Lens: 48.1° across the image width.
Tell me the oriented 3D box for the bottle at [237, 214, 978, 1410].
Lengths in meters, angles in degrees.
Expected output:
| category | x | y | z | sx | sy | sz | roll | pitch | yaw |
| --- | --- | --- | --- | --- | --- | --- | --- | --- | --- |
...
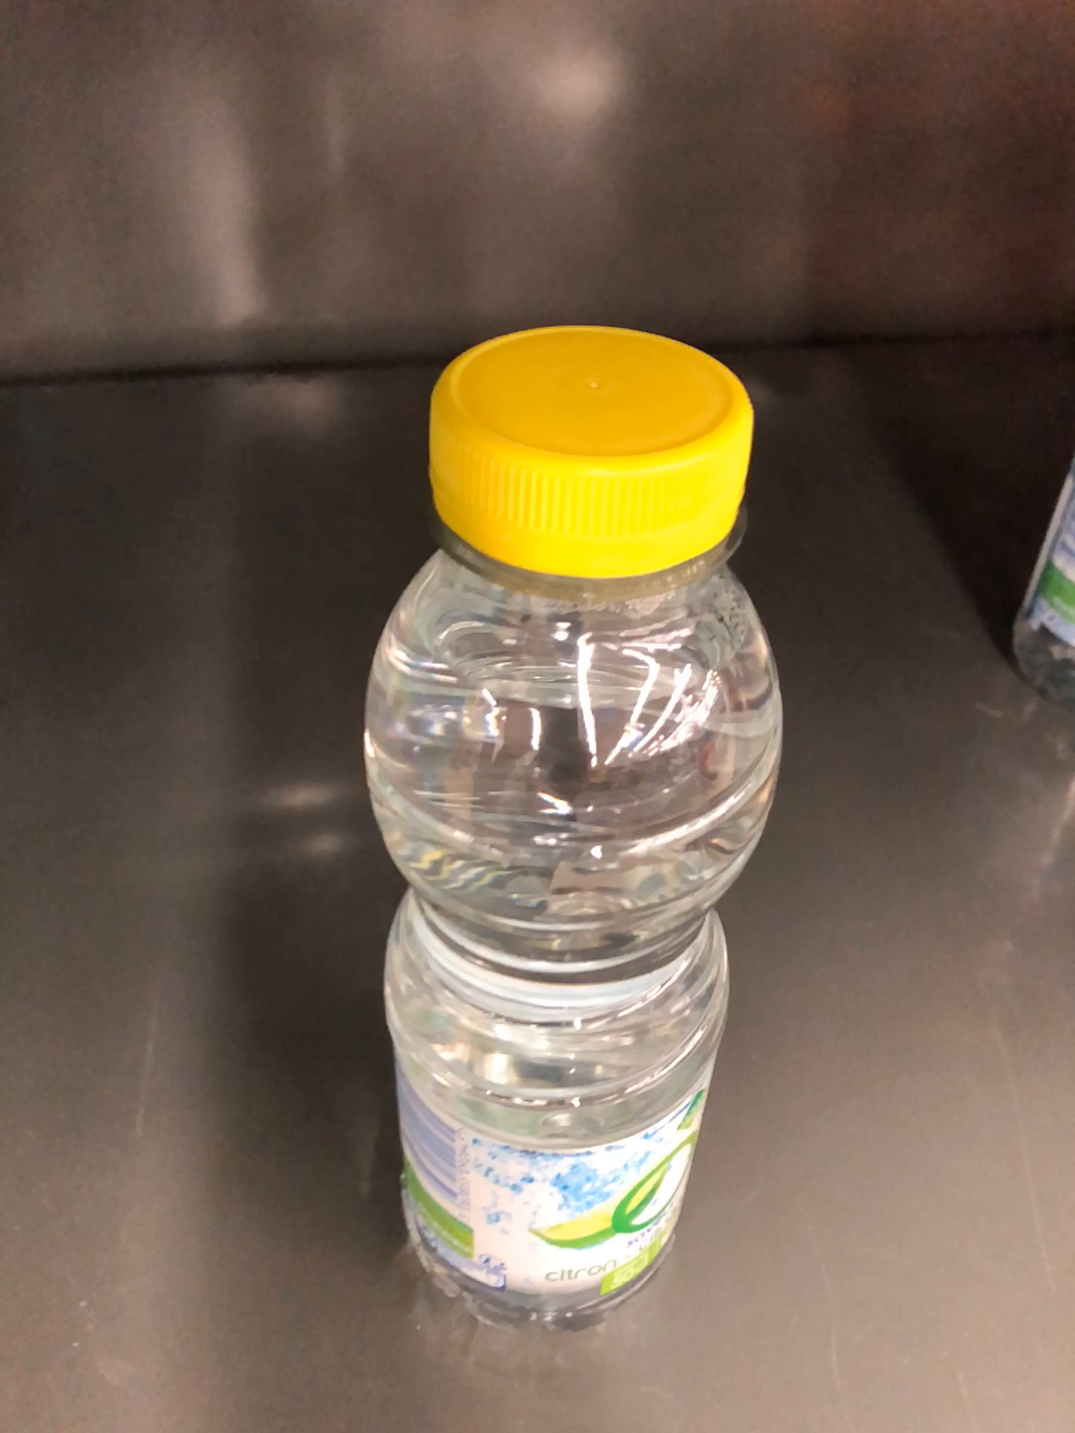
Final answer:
| category | x | y | z | sx | sy | sz | roll | pitch | yaw |
| --- | --- | --- | --- | --- | --- | --- | --- | --- | --- |
| bottle | 0.007 | 0.033 | 0.216 | 0.070 | 0.209 | 0.060 | -30 | 49 | -32 |
